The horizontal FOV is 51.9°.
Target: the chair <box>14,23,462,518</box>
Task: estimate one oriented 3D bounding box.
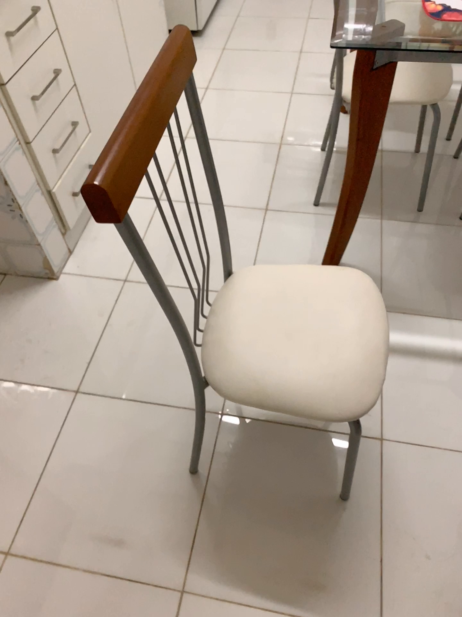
[{"bbox_3d":[0.083,0.009,0.969,0.510,0.886,0.482,7,53,9],"label":"chair"}]
